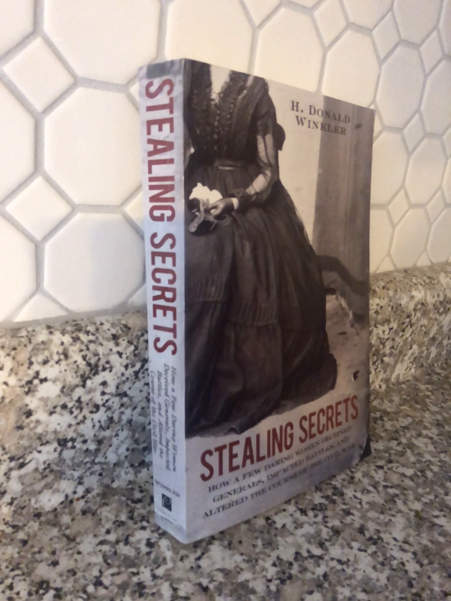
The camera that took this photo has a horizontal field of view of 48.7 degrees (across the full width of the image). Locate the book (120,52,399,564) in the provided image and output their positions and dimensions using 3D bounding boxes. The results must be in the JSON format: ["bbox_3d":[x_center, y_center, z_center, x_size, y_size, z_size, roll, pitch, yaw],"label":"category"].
[{"bbox_3d":[0.029,0.000,0.282,0.162,0.226,0.041,-8,11,-37],"label":"book"}]
